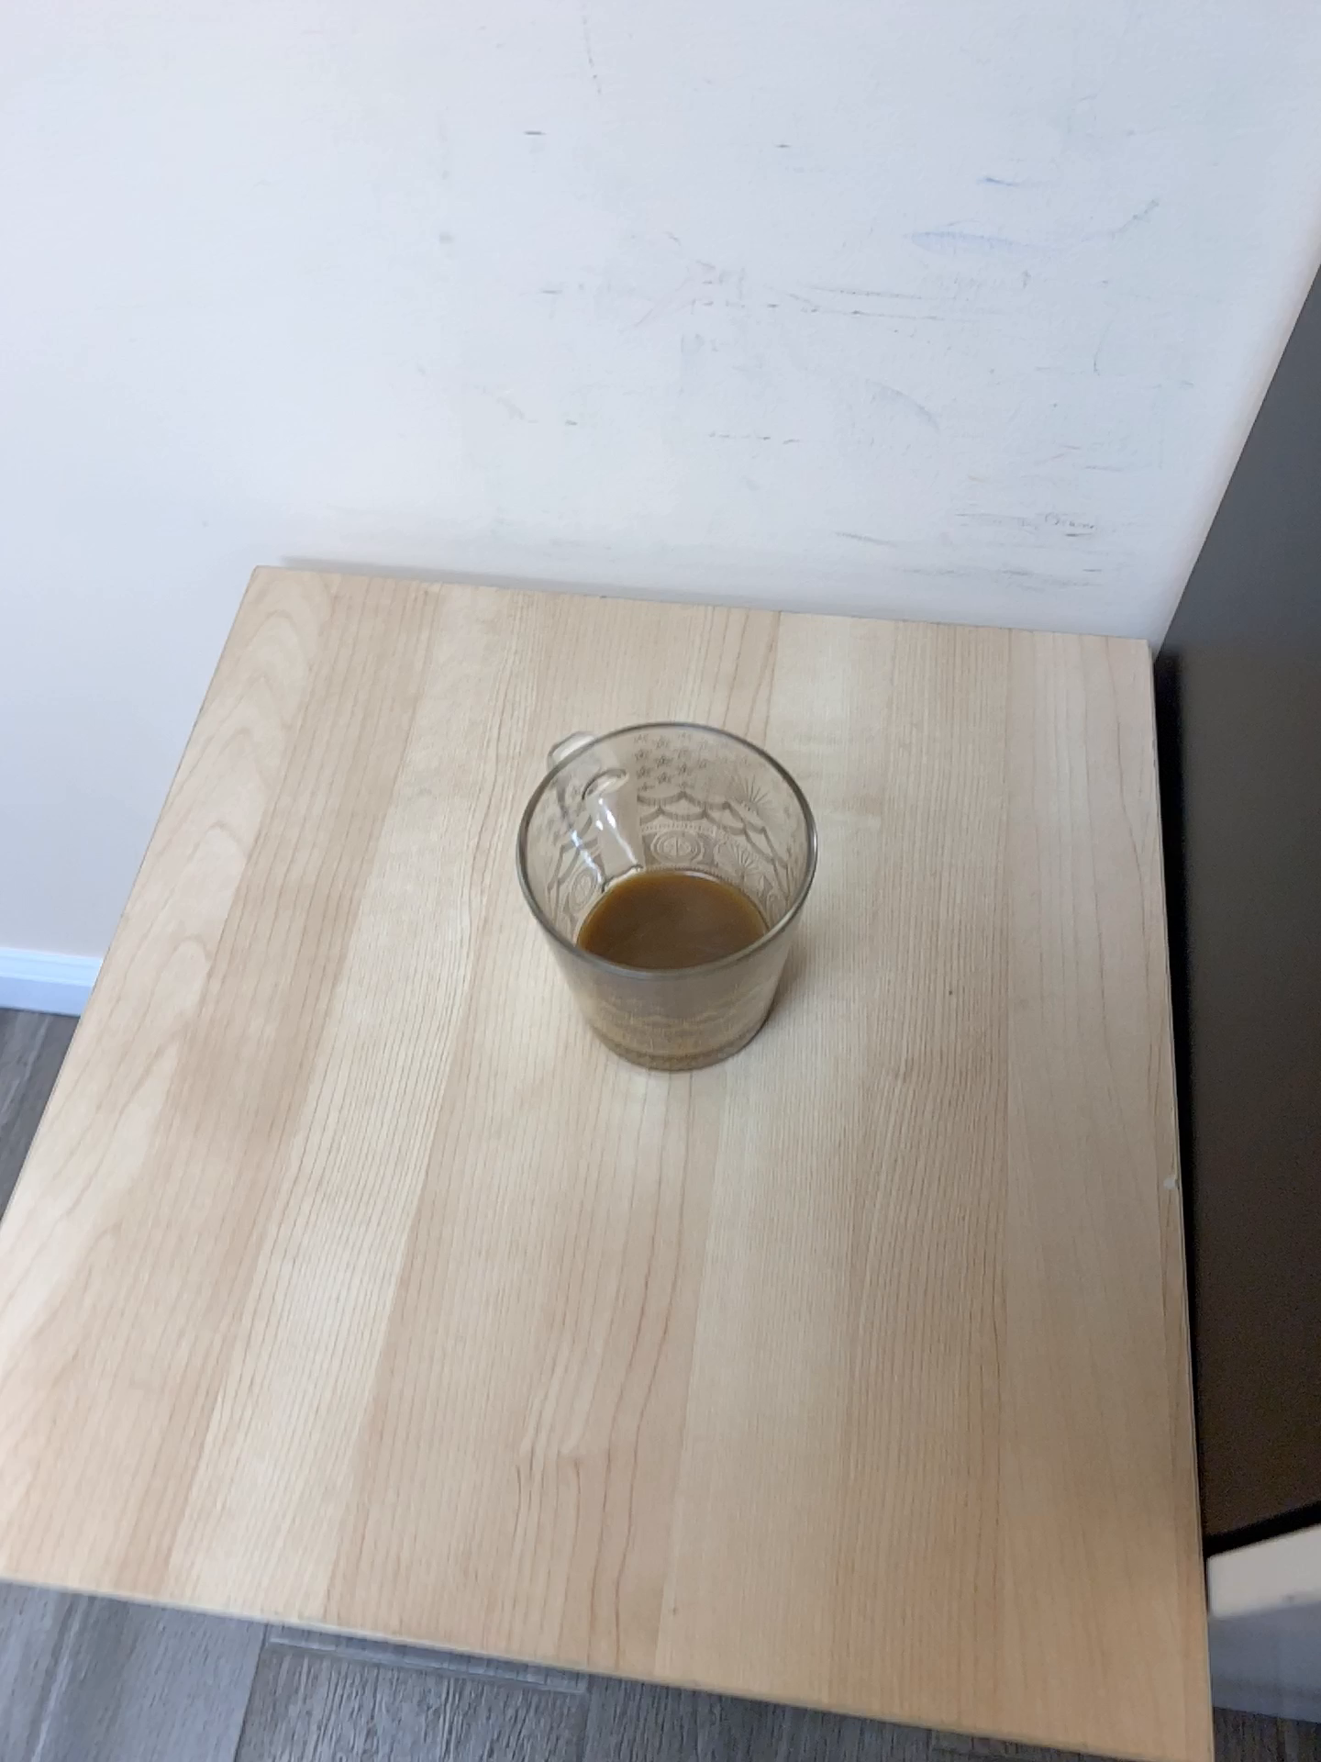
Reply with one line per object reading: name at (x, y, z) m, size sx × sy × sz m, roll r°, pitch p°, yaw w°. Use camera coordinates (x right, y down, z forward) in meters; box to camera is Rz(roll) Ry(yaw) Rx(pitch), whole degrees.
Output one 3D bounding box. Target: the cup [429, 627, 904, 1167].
cup at (0.000, 0.006, 0.465) m, size 0.099 × 0.098 × 0.125 m, roll -28°, pitch 62°, yaw -15°
